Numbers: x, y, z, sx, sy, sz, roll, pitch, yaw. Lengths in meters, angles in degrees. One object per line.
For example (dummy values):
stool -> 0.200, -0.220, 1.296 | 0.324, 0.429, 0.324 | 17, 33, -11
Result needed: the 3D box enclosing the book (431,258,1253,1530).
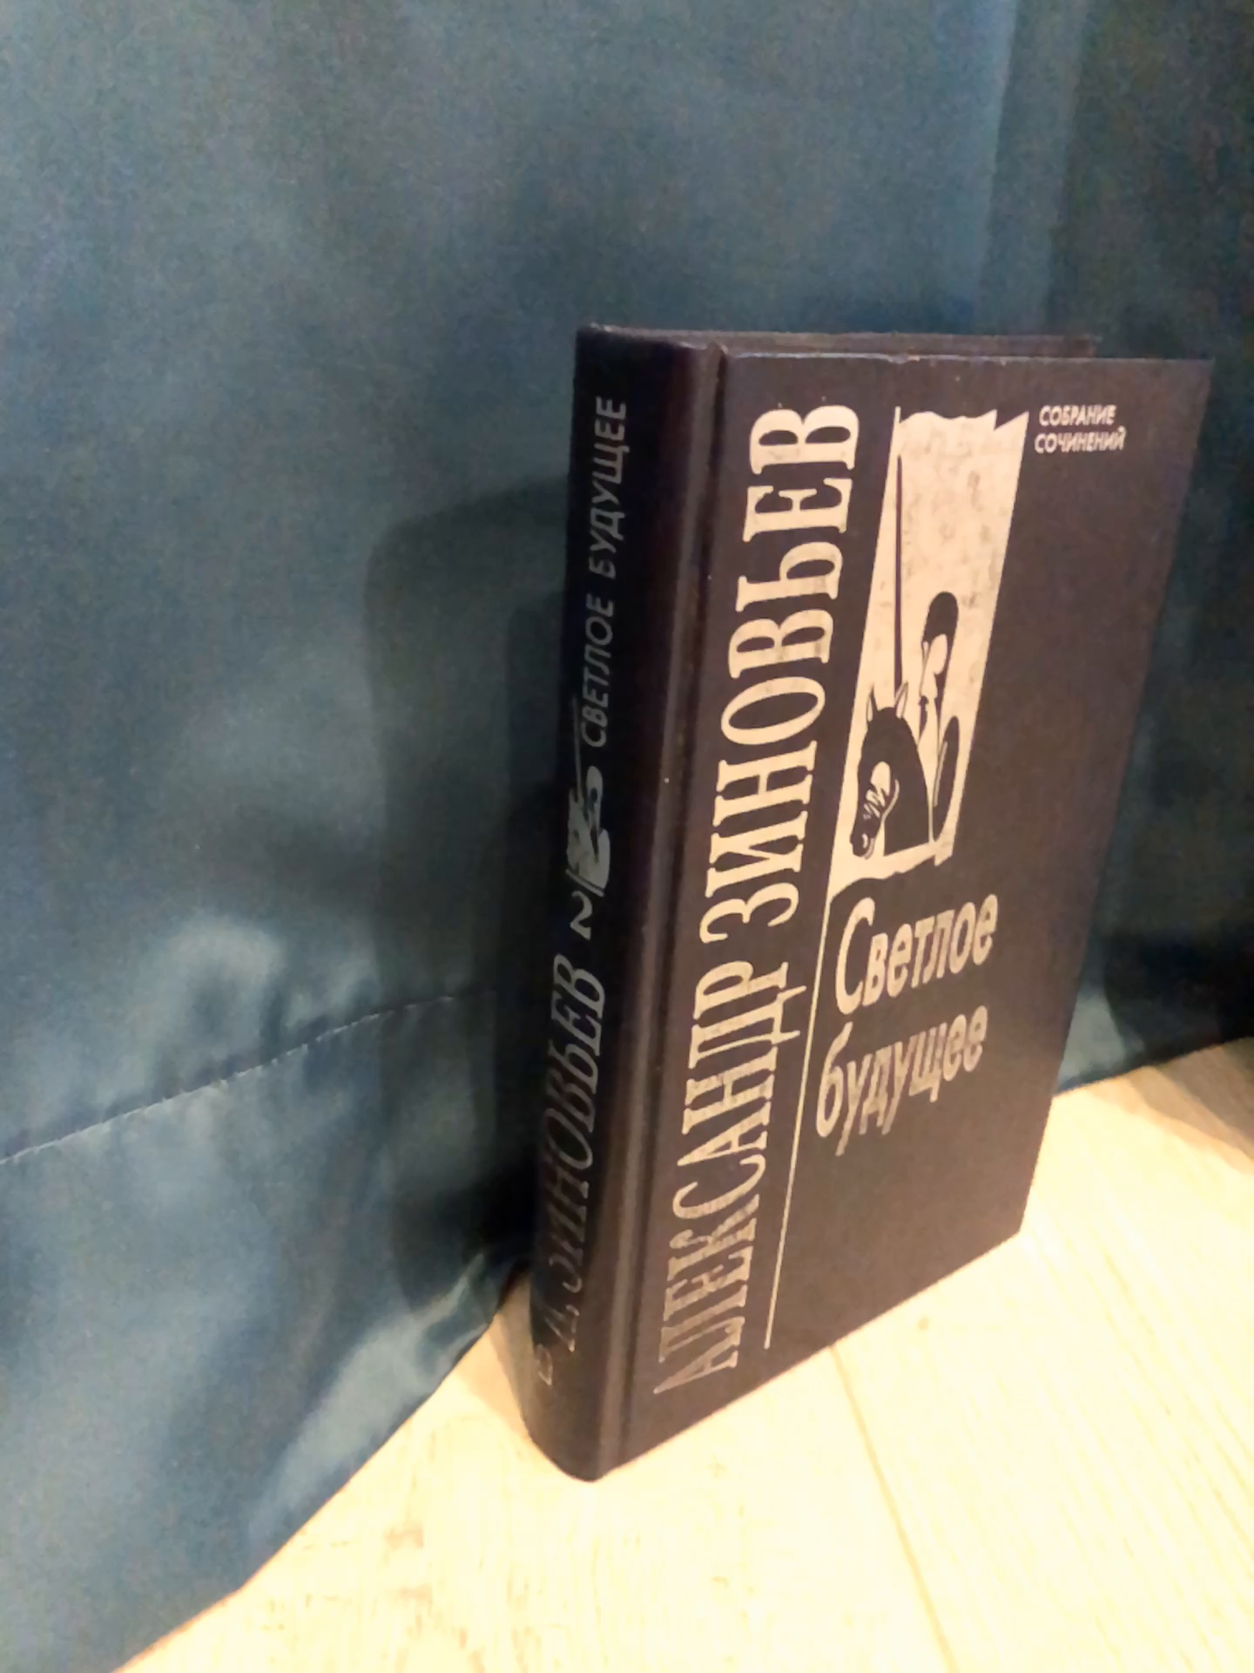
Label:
book -> 0.039, 0.004, 0.260 | 0.151, 0.199, 0.040 | -14, 27, -37
